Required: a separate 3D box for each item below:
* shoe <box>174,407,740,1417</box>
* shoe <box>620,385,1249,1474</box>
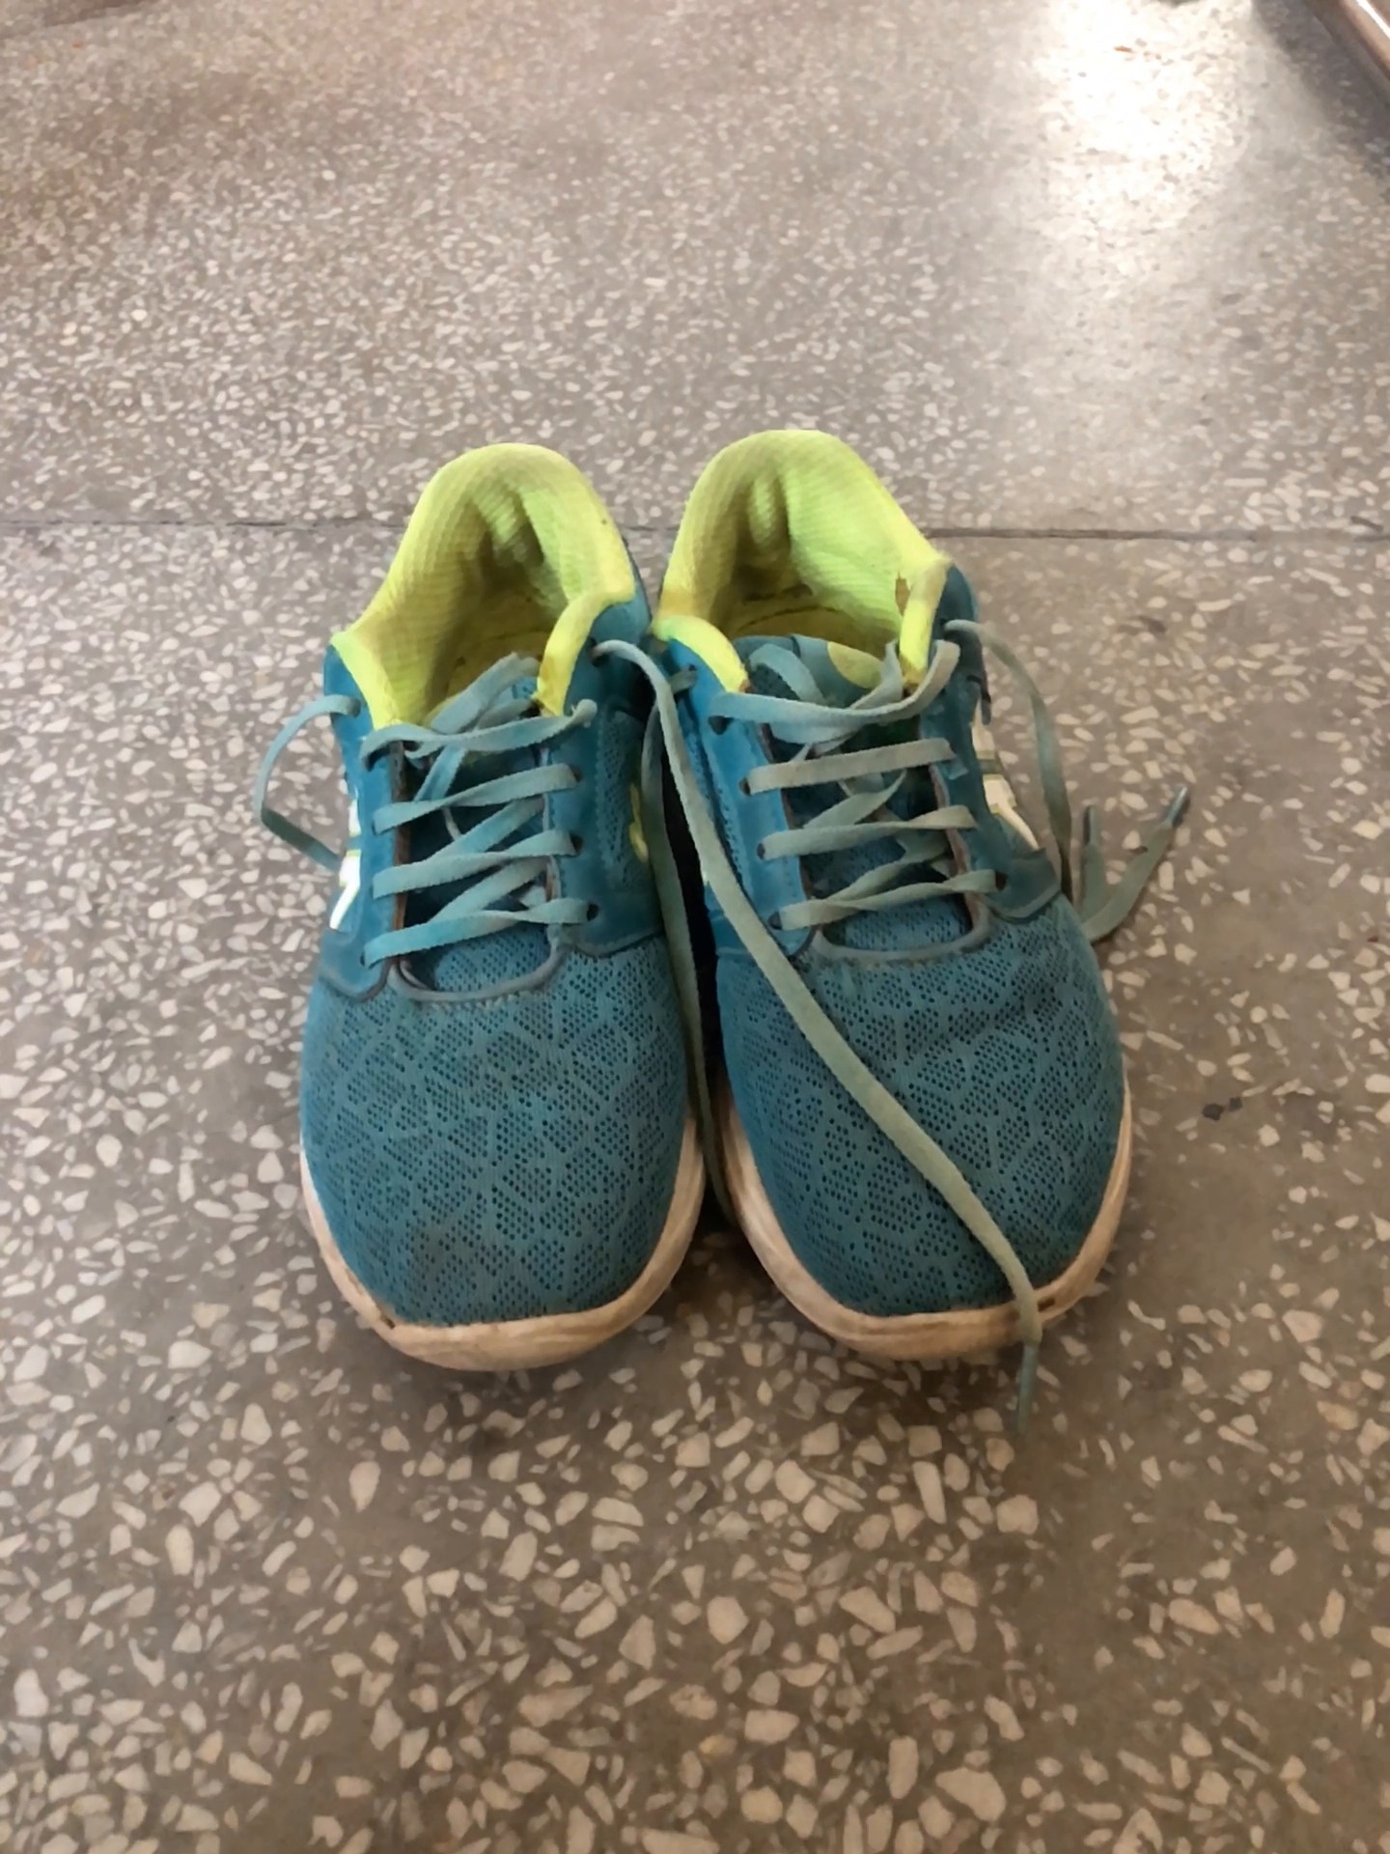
[{"bbox_3d":[-0.041,-0.019,0.366,0.090,0.080,0.241,-4,49,3],"label":"shoe"},{"bbox_3d":[0.040,-0.013,0.367,0.100,0.080,0.251,-5,55,2],"label":"shoe"}]
